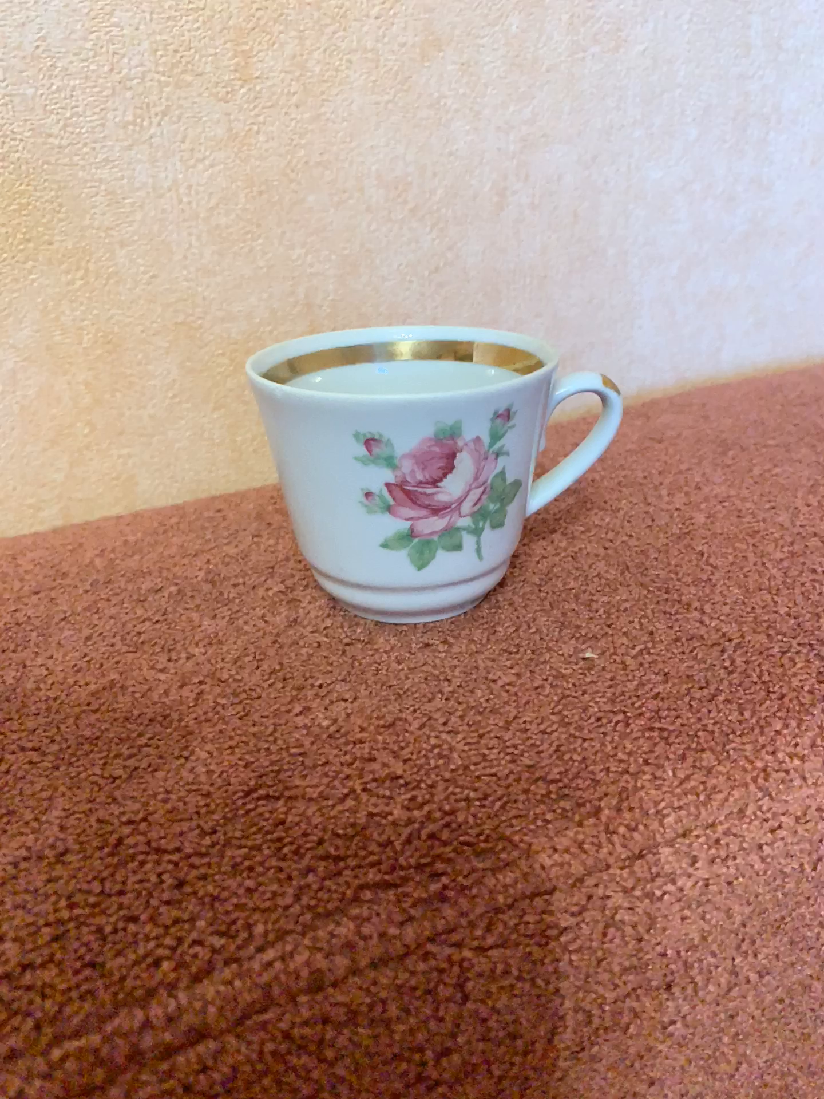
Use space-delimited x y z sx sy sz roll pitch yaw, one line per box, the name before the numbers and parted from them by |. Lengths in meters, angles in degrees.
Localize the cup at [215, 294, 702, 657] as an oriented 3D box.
cup | 0.005 -0.022 0.189 0.085 0.047 0.067 -9 28 -11
